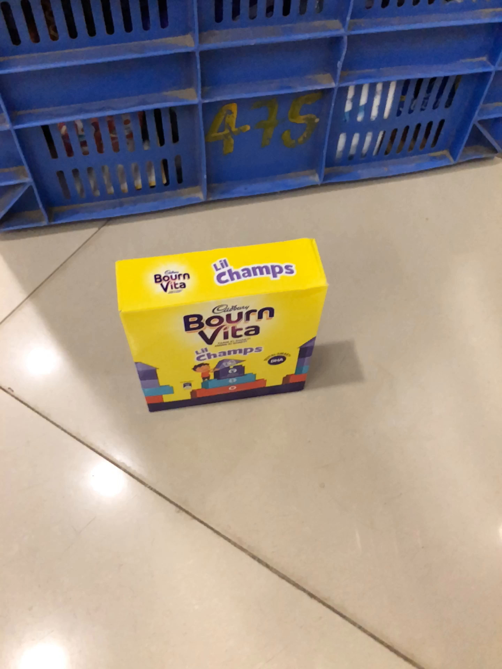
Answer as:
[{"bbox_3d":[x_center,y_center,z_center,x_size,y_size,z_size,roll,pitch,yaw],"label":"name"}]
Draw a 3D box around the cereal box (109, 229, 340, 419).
[{"bbox_3d":[-0.021,0.000,0.445,0.150,0.169,0.050,-7,58,-6],"label":"cereal box"}]
